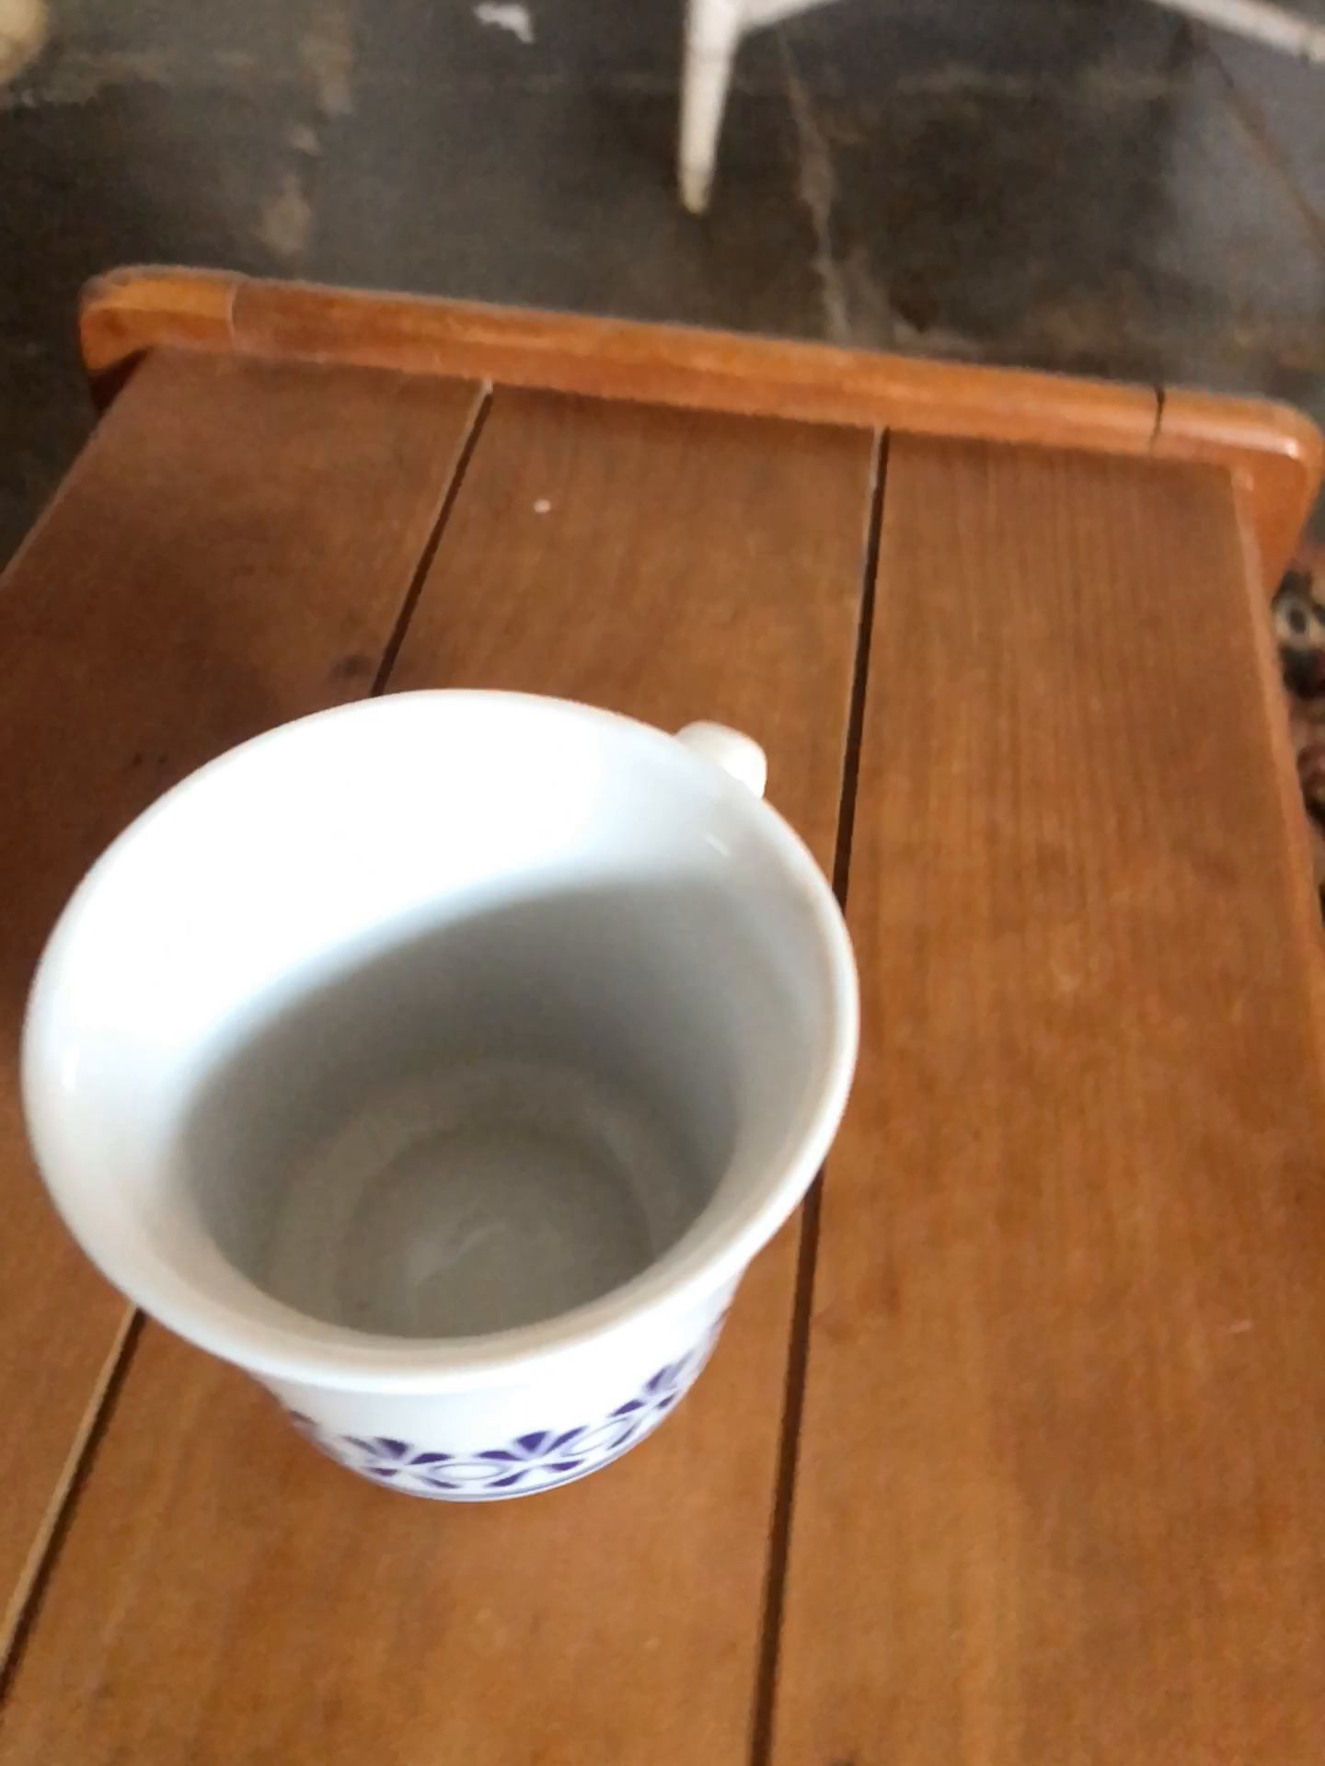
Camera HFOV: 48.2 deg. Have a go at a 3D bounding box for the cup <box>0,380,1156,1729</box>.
[{"bbox_3d":[-0.014,0.015,0.200,0.100,0.079,0.131,26,56,16],"label":"cup"}]
